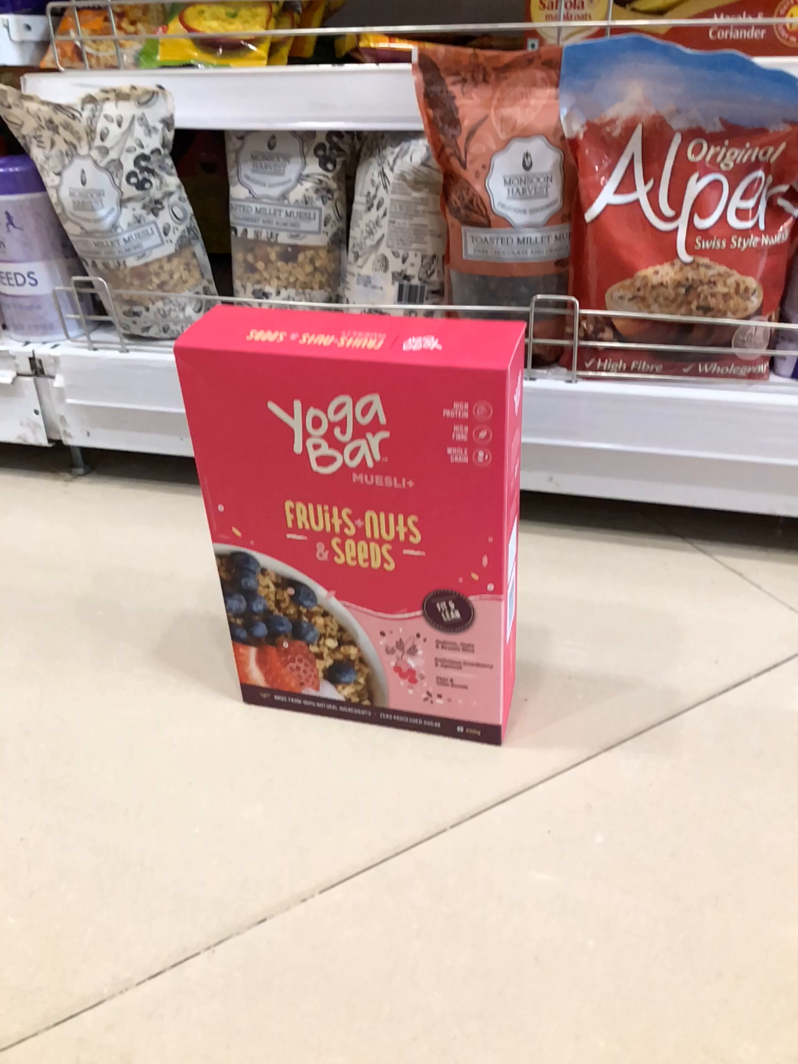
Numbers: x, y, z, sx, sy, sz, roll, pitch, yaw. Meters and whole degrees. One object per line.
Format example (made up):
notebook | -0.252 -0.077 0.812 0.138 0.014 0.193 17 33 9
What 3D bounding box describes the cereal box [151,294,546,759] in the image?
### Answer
cereal box | -0.017 0.001 0.461 0.170 0.229 0.060 6 33 15
